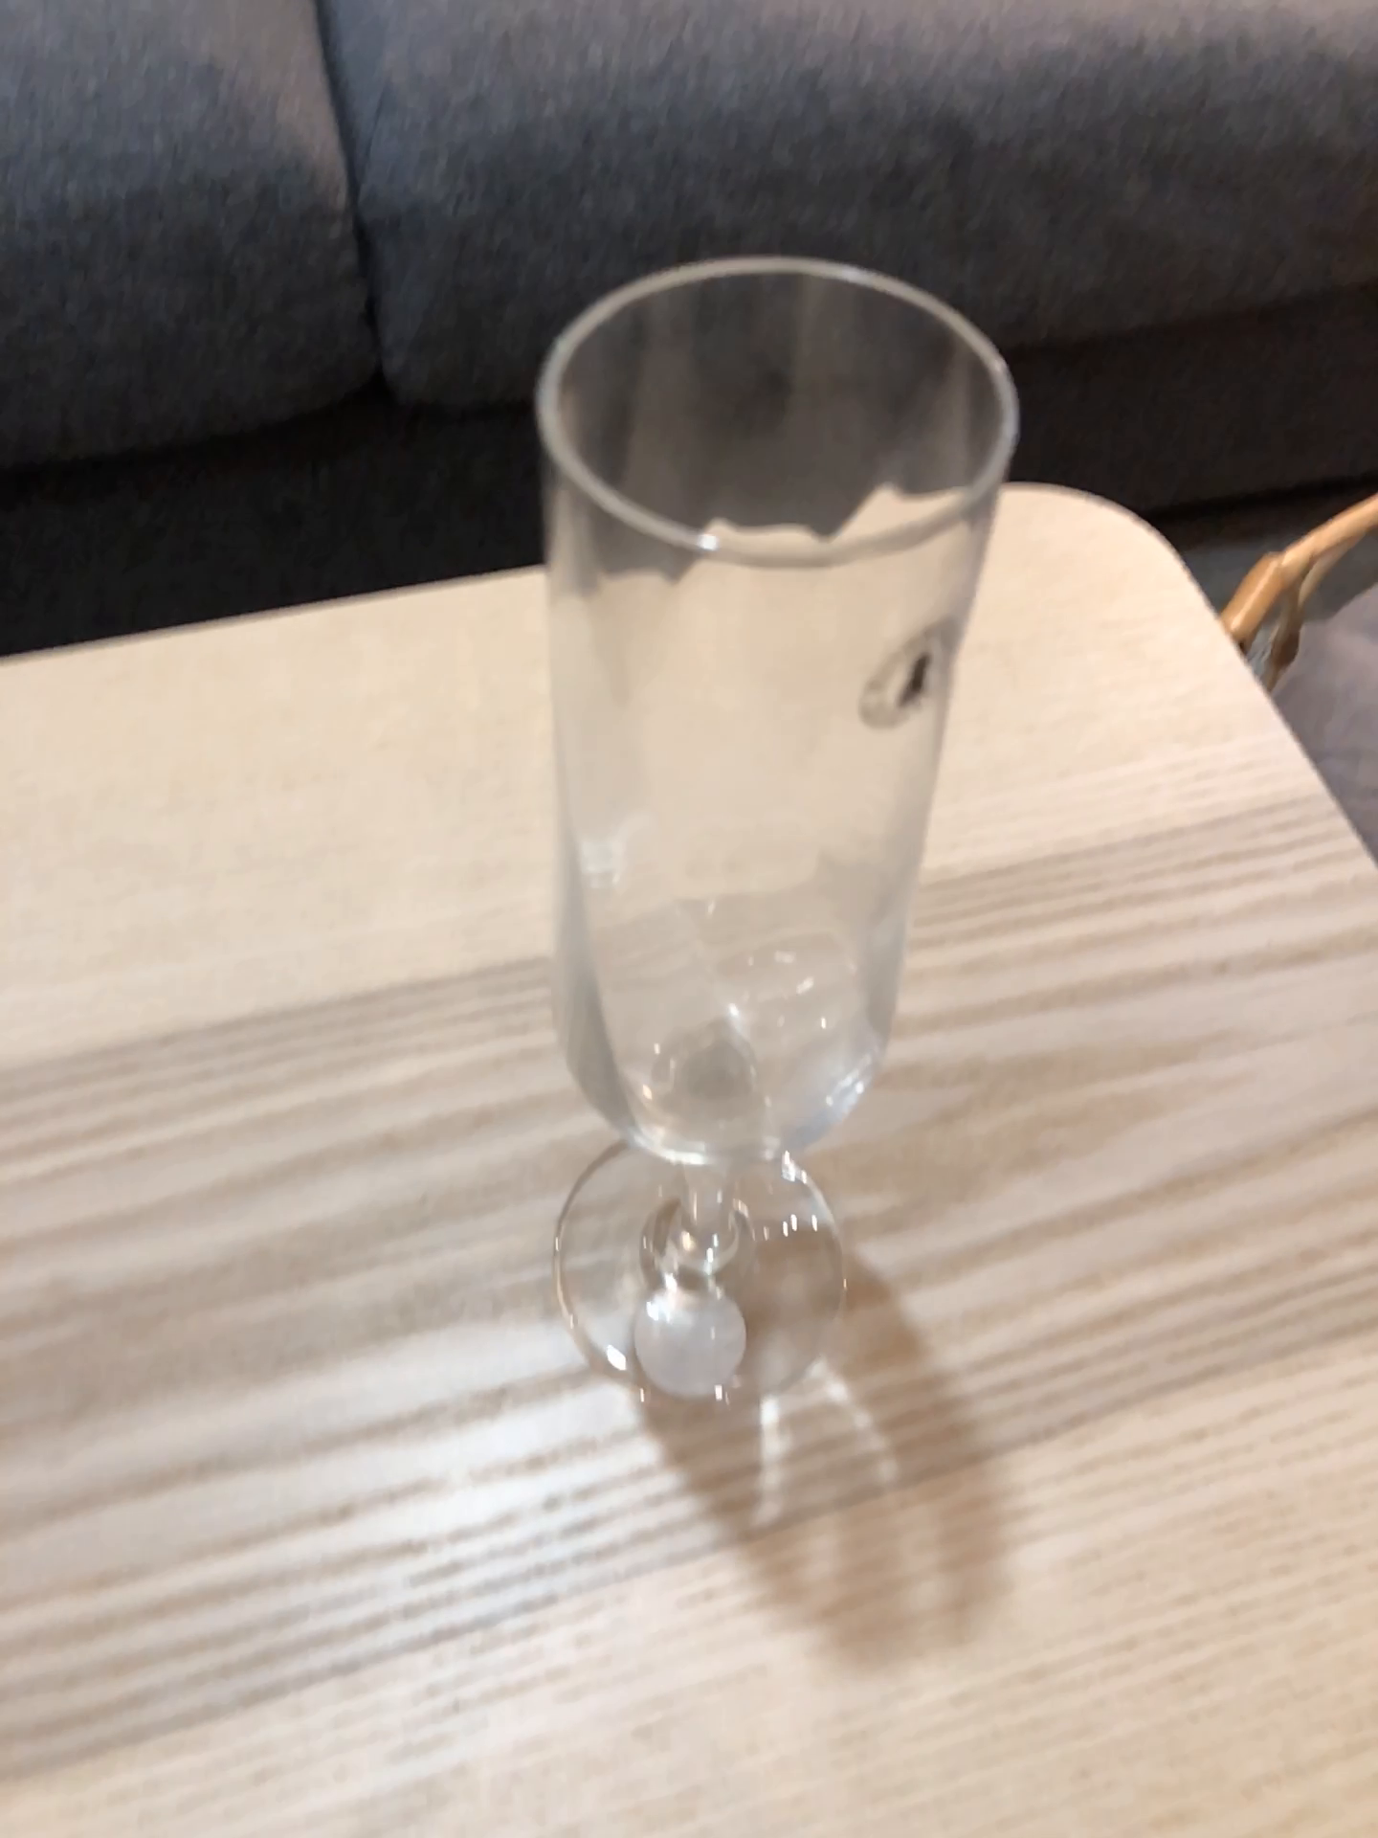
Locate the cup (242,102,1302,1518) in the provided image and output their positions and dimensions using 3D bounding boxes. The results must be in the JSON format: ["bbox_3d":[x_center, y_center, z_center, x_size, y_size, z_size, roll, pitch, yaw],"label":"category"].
[{"bbox_3d":[0.008,0.012,0.258,0.080,0.240,0.080,1,55,-1],"label":"cup"}]
